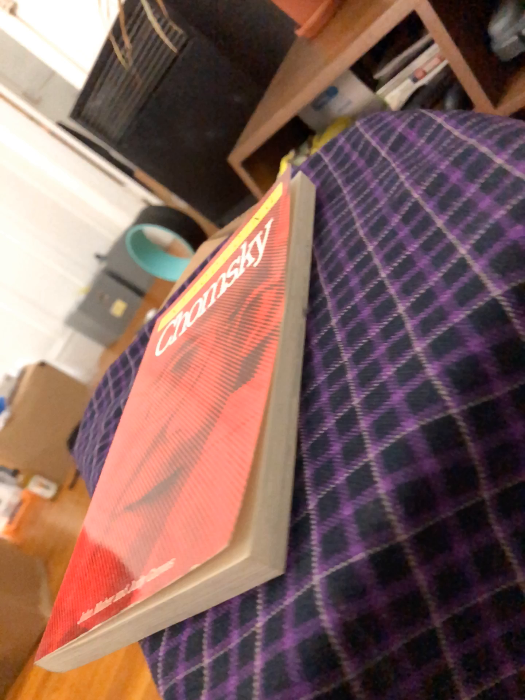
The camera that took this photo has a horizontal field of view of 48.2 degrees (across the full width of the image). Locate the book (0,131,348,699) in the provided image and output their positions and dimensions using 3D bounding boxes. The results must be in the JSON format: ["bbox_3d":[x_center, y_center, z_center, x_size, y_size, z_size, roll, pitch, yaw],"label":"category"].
[{"bbox_3d":[-0.032,0.016,0.281,0.180,0.020,0.241,-39,27,35],"label":"book"}]
